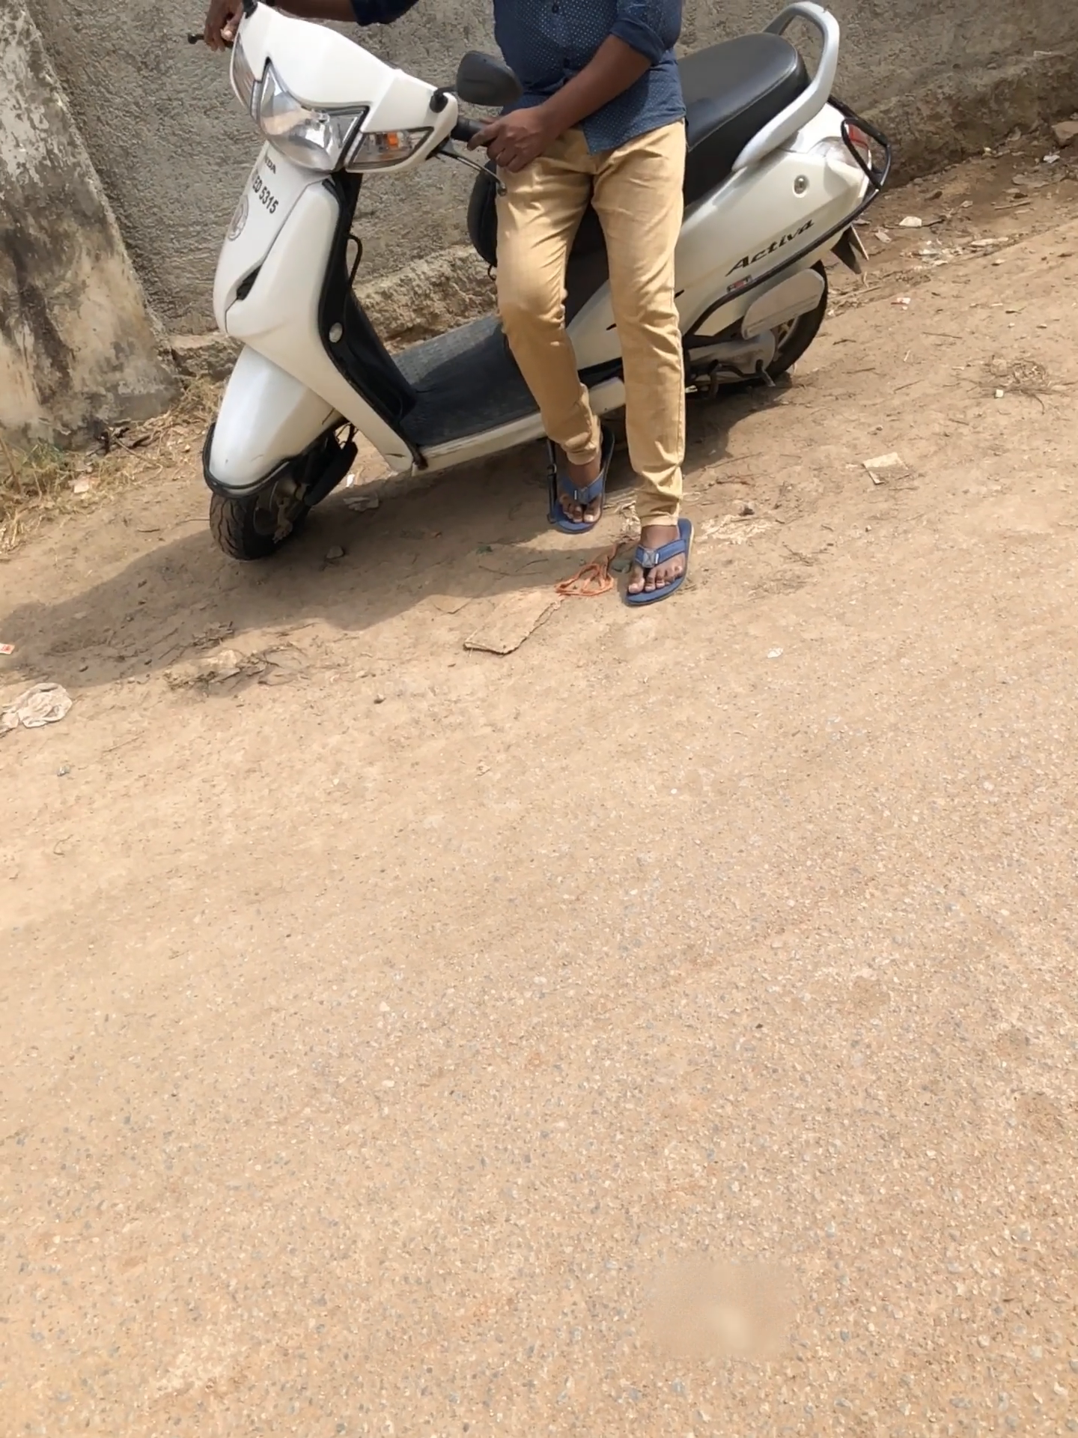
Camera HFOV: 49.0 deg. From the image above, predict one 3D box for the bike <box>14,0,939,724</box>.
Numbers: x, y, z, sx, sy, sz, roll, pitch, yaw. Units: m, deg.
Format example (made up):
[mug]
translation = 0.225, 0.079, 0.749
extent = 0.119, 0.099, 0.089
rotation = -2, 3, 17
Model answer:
[bike]
translation = -0.026, -0.932, 2.518
extent = 1.625, 1.140, 0.672
rotation = -22, 37, -9
